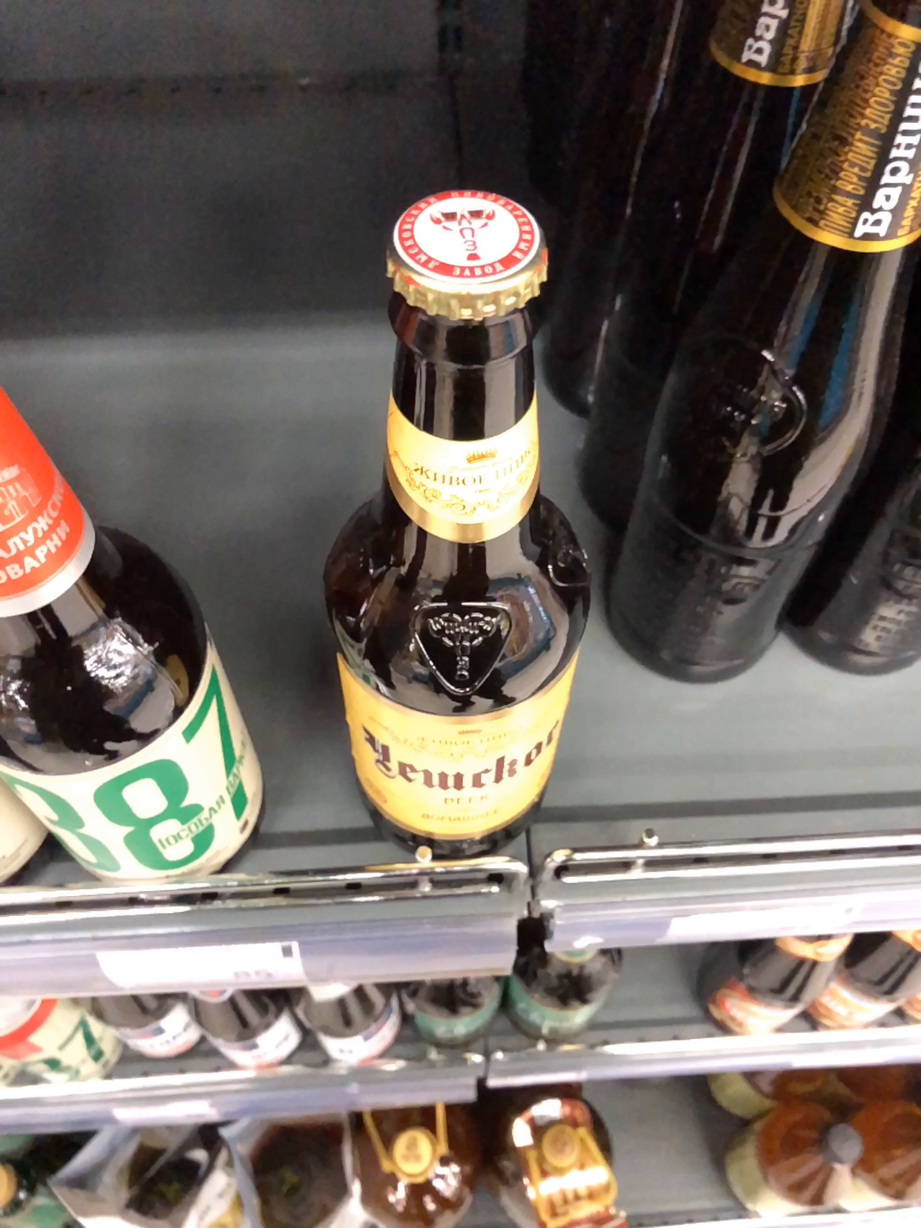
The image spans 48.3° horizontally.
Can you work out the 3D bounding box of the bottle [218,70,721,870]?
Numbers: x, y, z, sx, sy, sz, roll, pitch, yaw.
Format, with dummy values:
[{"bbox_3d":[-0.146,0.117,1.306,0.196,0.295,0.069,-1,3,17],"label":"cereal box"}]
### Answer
[{"bbox_3d":[-0.004,-0.009,0.285,0.080,0.239,0.080,0,59,-1],"label":"bottle"}]
